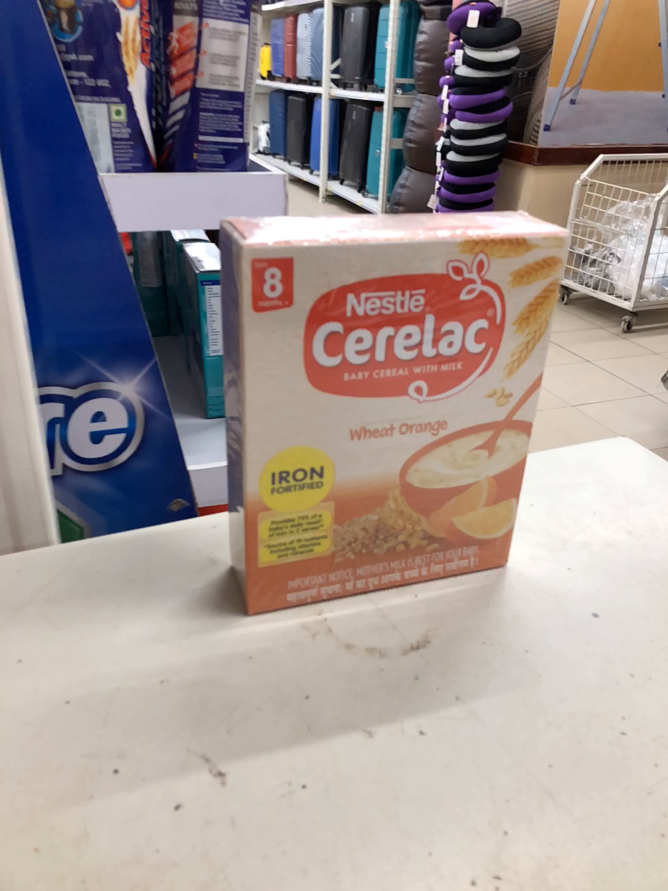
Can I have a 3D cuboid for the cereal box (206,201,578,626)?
[{"bbox_3d":[0.023,-0.016,0.373,0.160,0.199,0.050,-7,30,-18],"label":"cereal box"}]
